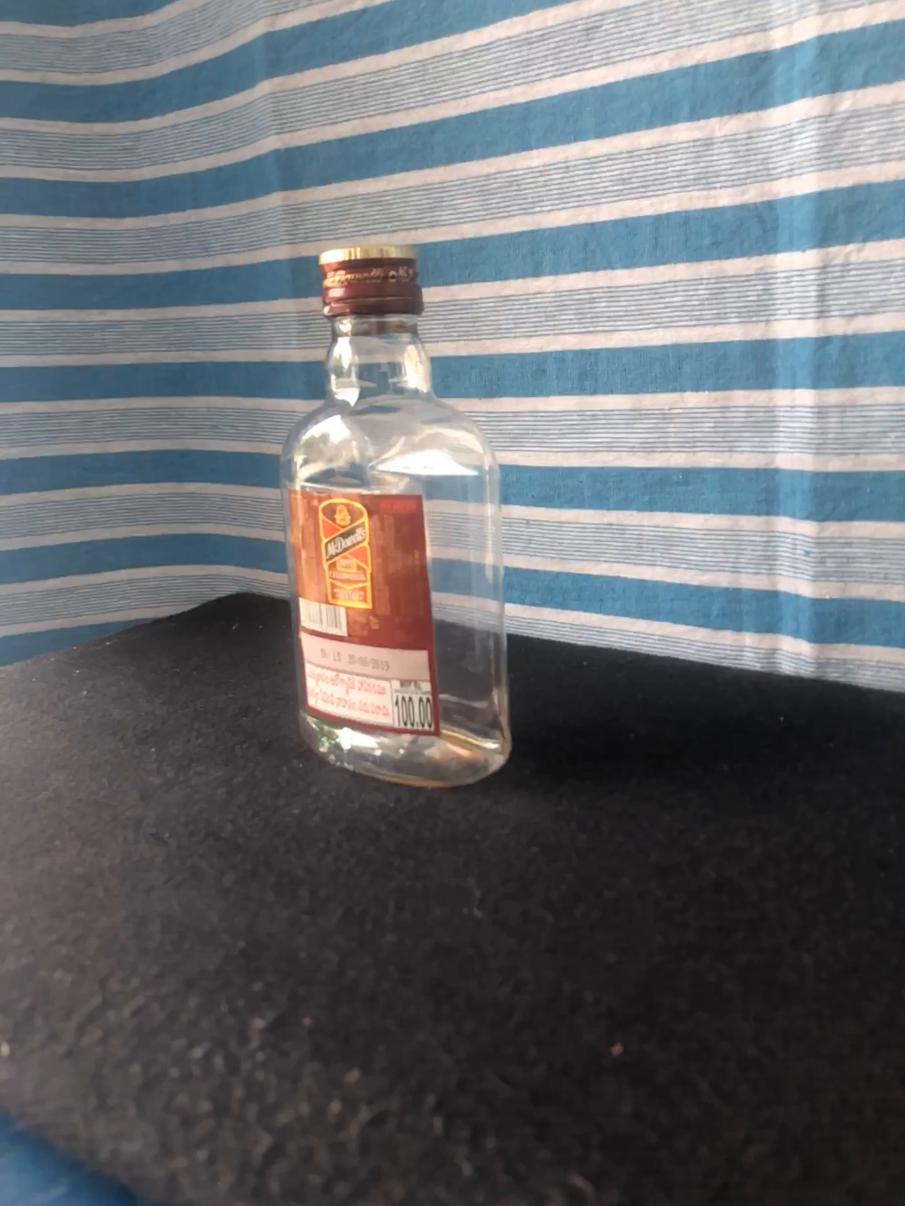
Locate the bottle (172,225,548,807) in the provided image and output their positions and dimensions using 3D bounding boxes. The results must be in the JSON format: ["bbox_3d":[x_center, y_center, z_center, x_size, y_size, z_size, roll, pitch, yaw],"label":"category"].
[{"bbox_3d":[-0.022,-0.024,0.257,0.080,0.130,0.040,9,20,35],"label":"bottle"}]
